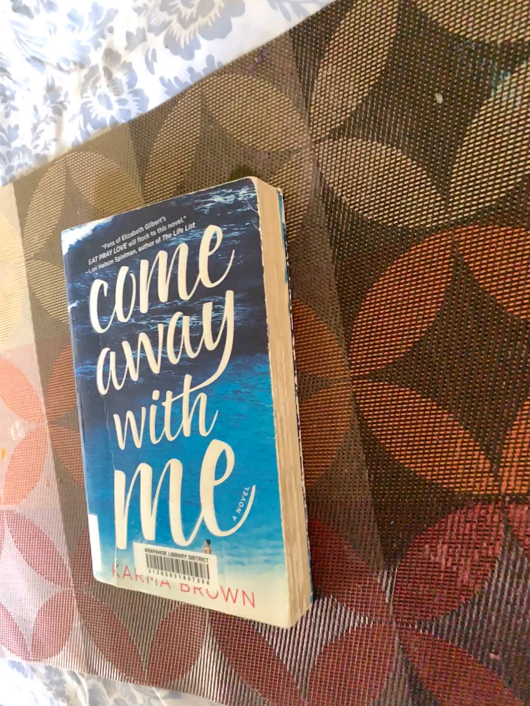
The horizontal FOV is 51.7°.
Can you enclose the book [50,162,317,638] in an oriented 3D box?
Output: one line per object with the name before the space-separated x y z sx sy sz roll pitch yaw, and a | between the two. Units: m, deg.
book | -0.048 0.024 0.279 0.135 0.030 0.200 -4 91 34
